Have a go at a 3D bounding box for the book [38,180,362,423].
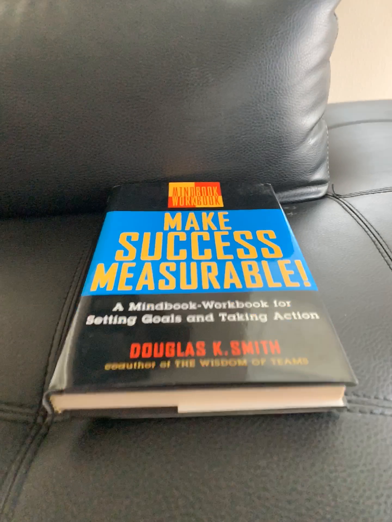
[{"bbox_3d":[-0.001,0.003,0.309,0.164,0.030,0.242,-1,36,-2],"label":"book"}]
